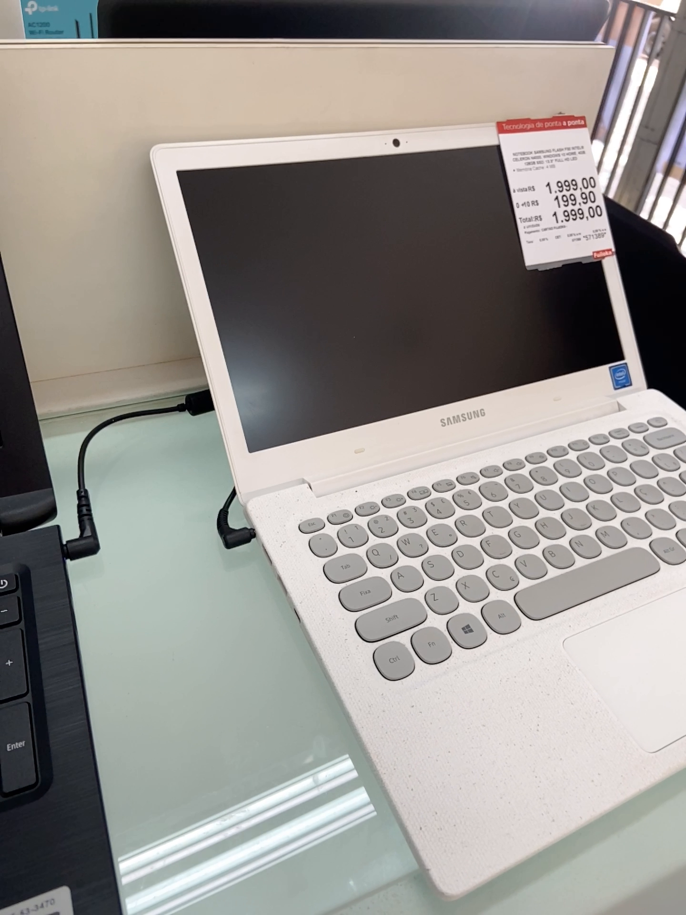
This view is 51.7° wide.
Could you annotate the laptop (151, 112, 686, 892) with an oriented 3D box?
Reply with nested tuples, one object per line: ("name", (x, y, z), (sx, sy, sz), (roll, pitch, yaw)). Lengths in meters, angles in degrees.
("laptop", (0.105, -0.048, 0.387), (0.315, 0.140, 0.361), (-14, 46, -23))
